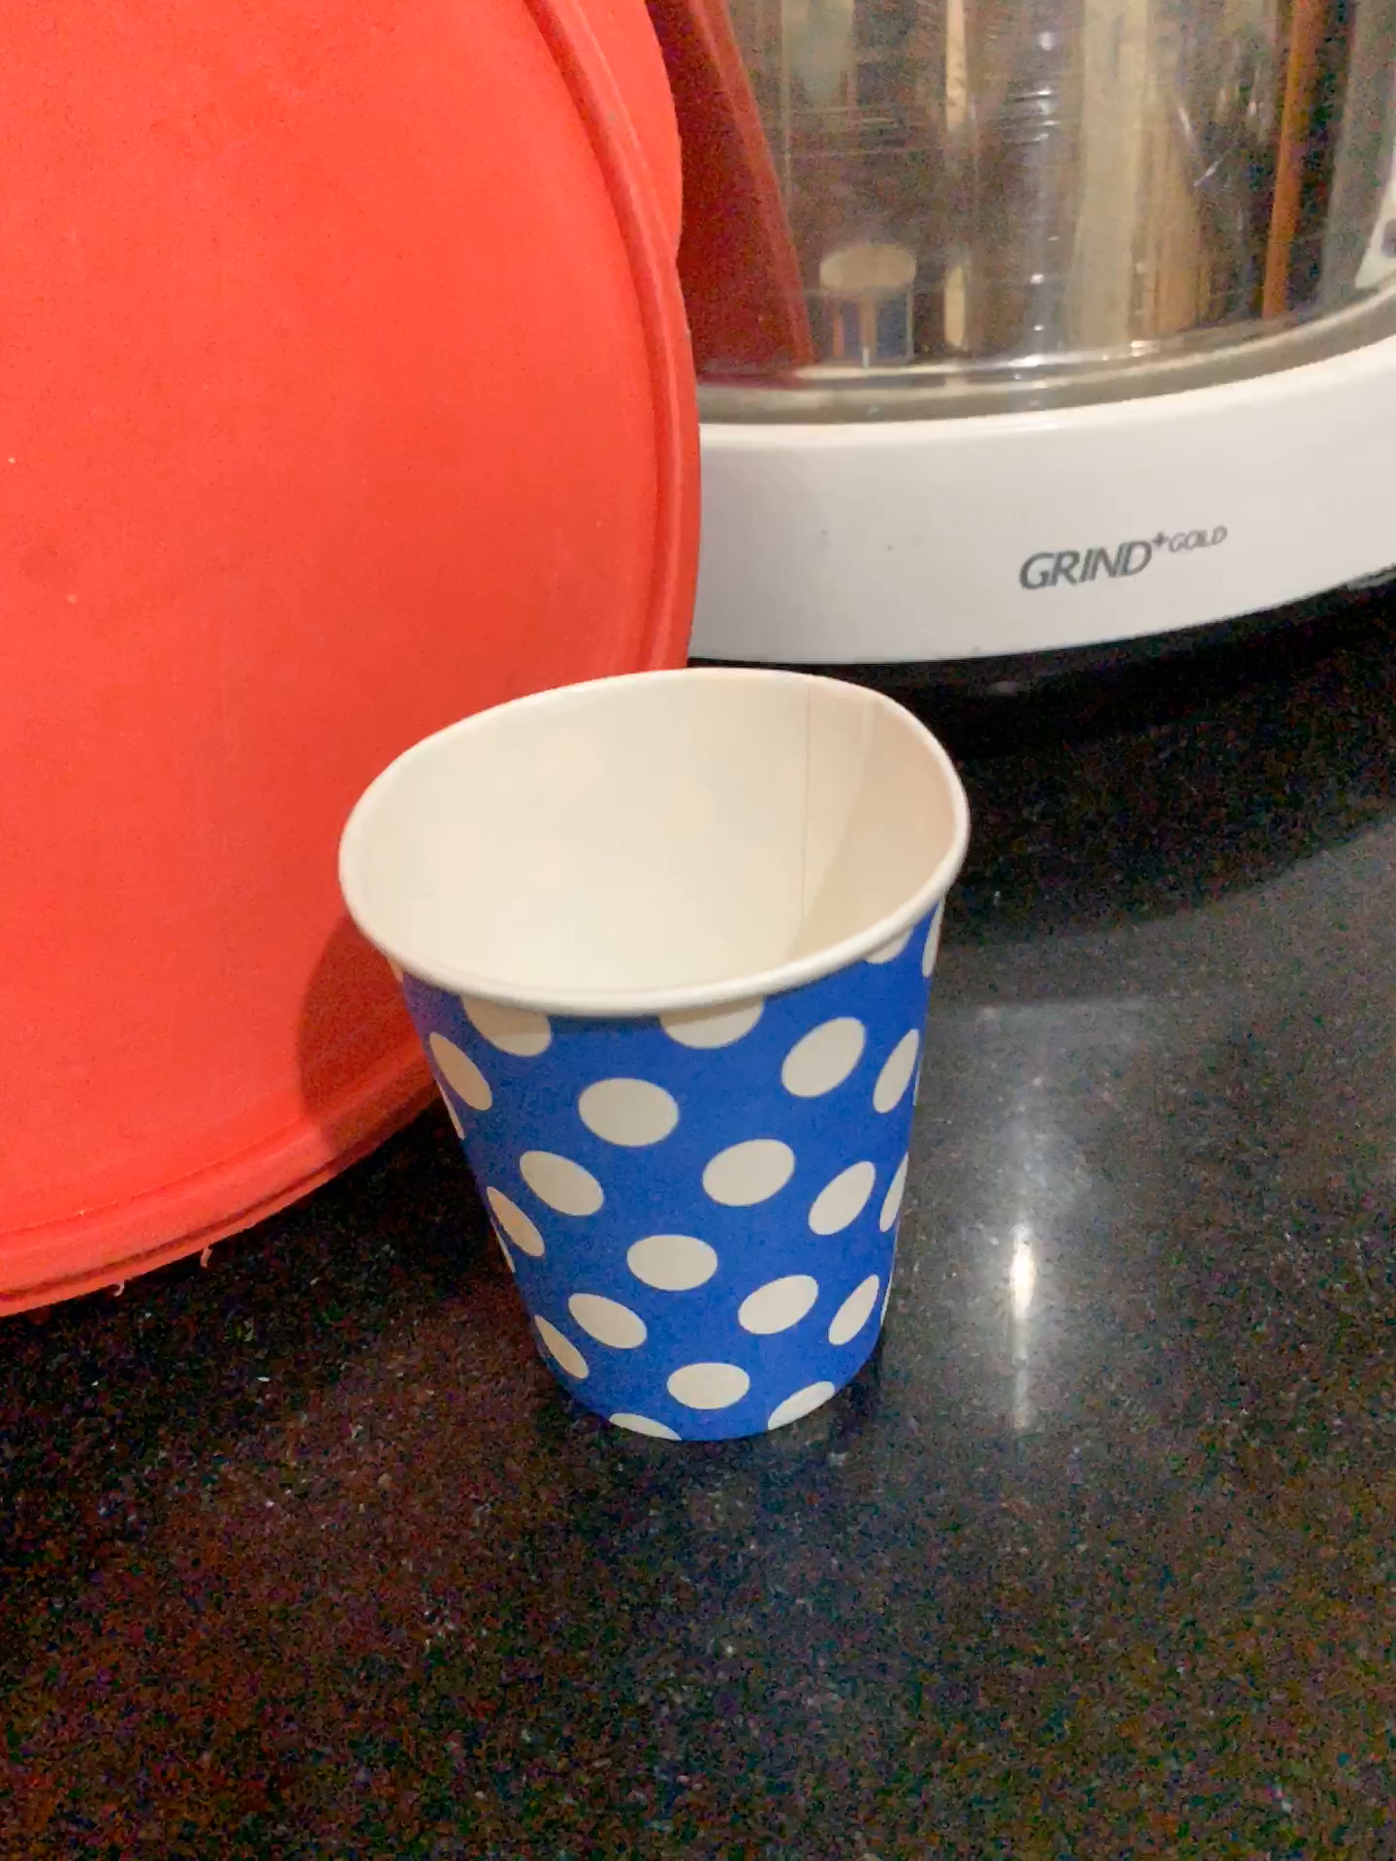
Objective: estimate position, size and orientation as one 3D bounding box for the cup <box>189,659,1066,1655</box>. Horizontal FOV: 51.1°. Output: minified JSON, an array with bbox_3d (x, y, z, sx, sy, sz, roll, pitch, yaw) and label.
[{"bbox_3d":[-0.001,0.022,0.178,0.070,0.079,0.070,-4,34,3],"label":"cup"}]
